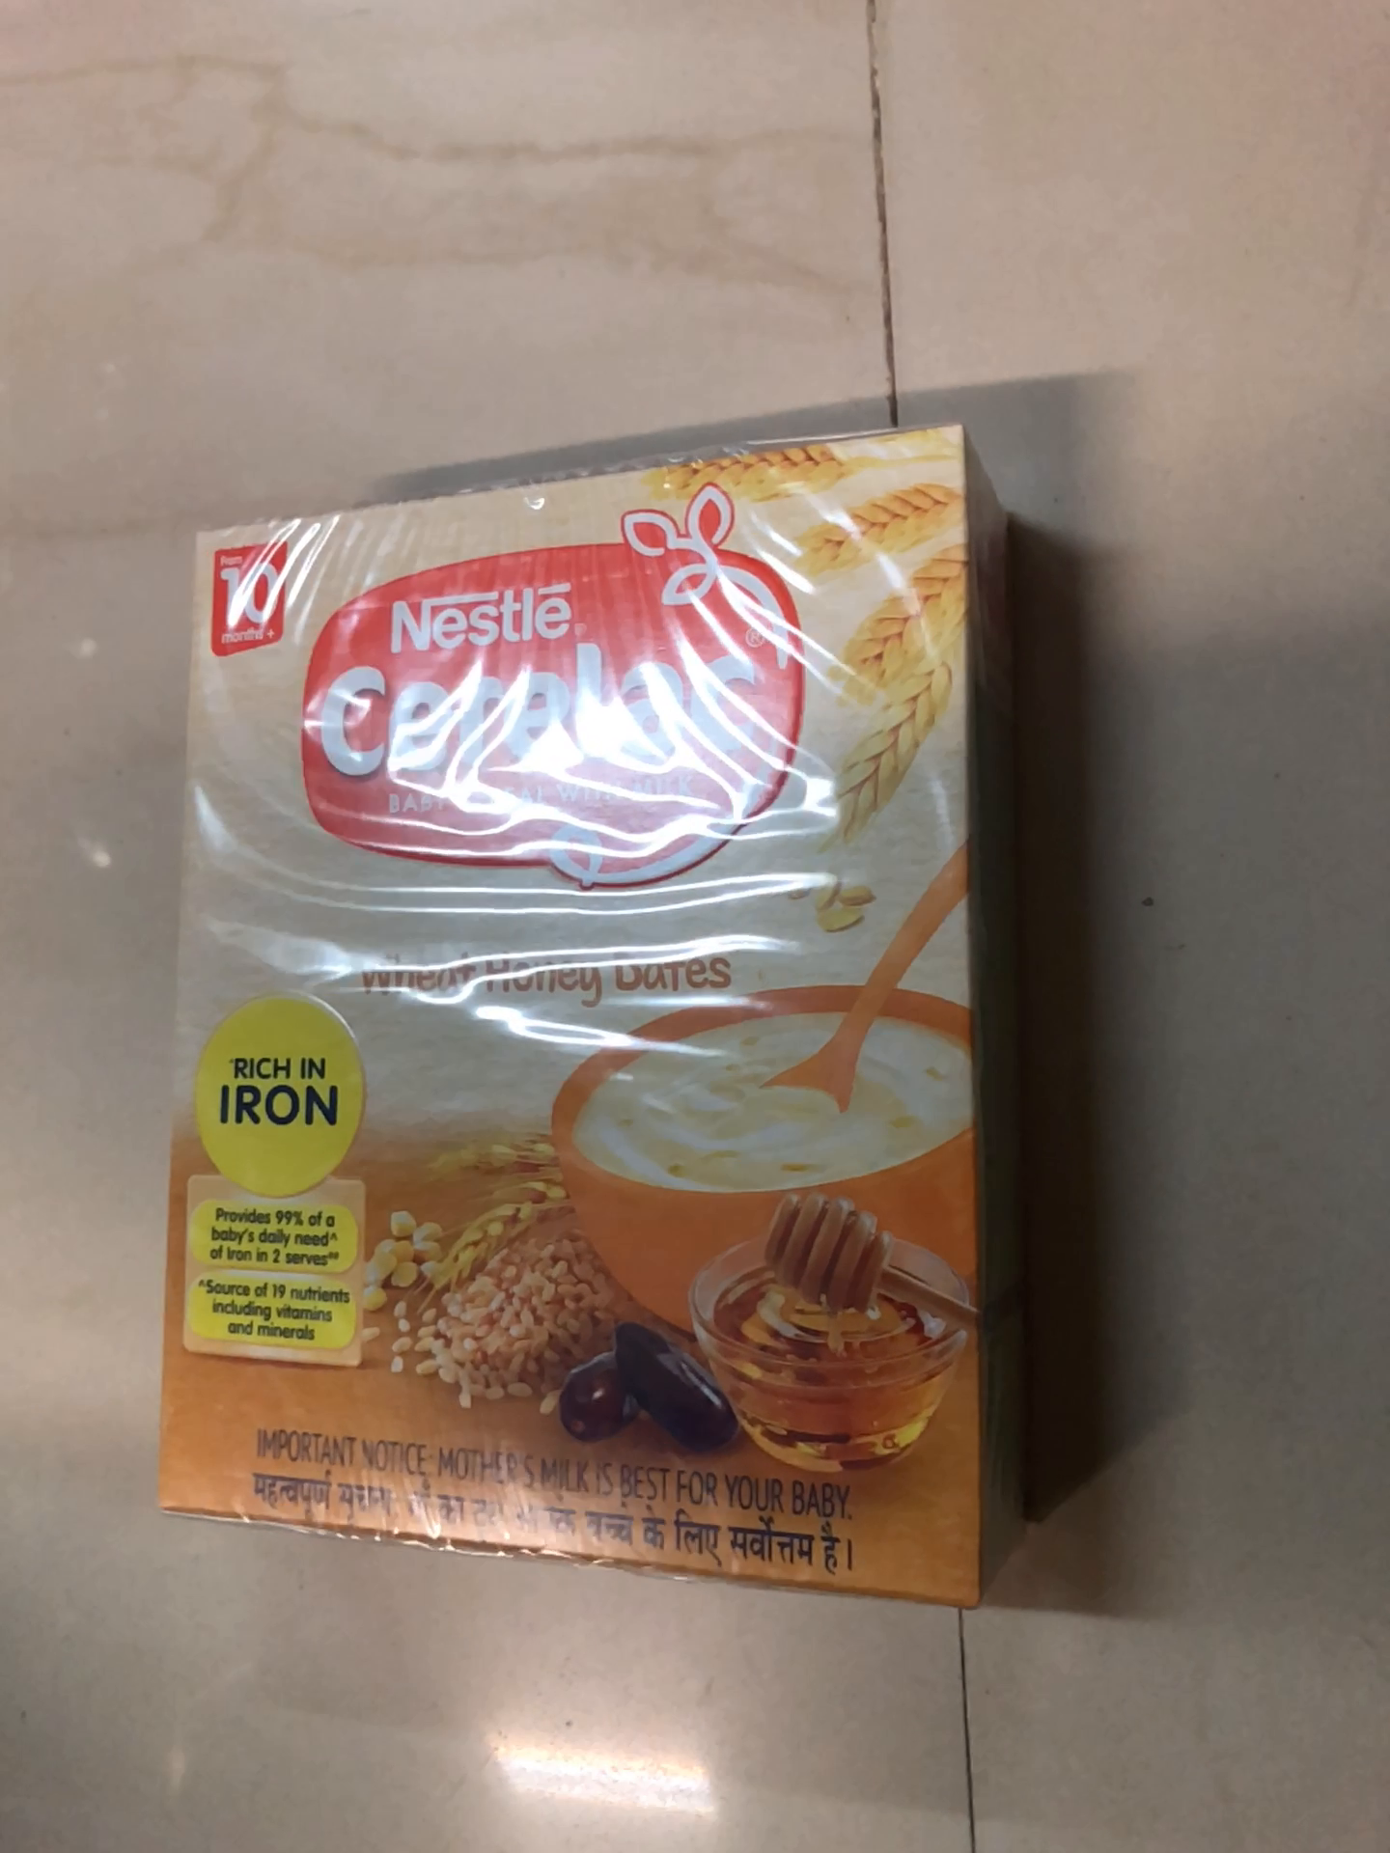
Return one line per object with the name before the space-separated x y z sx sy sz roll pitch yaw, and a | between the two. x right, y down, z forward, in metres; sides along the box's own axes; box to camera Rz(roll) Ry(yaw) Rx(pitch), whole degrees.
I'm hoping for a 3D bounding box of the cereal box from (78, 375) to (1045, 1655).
cereal box | -0.022 0.014 0.285 0.160 0.060 0.190 -1 83 20
